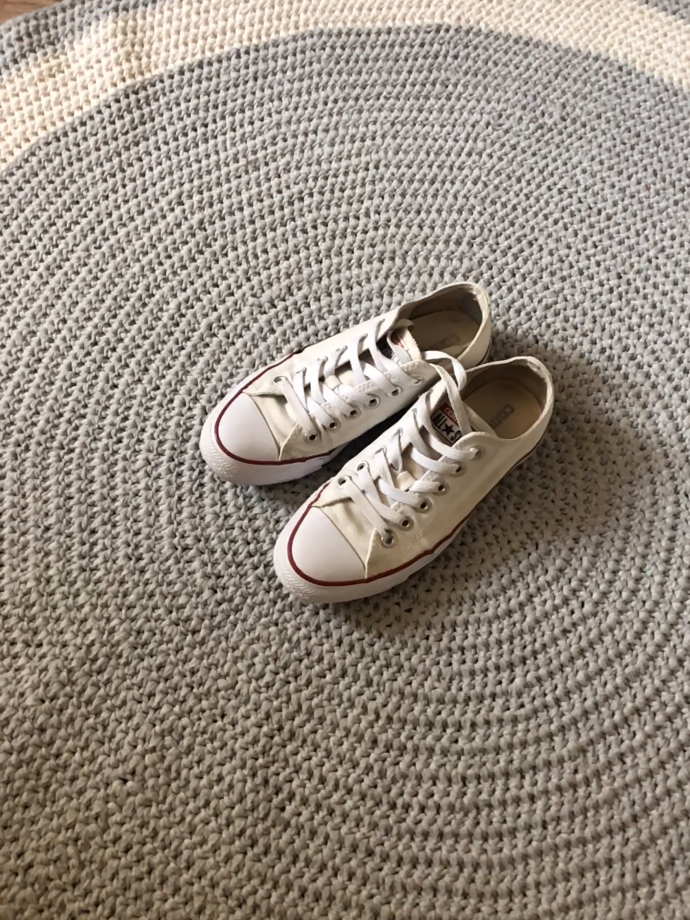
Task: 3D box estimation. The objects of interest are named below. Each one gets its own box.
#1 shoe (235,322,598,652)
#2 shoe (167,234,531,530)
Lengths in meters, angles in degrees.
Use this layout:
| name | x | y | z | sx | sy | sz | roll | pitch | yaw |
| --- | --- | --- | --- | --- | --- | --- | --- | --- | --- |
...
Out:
| name | x | y | z | sx | sy | sz | roll | pitch | yaw |
| --- | --- | --- | --- | --- | --- | --- | --- | --- | --- |
| shoe | 0.052 | 0.017 | 0.549 | 0.240 | 0.070 | 0.100 | -37 | 74 | -14 |
| shoe | 0.005 | -0.061 | 0.579 | 0.247 | 0.070 | 0.100 | -31 | 73 | -12 |
